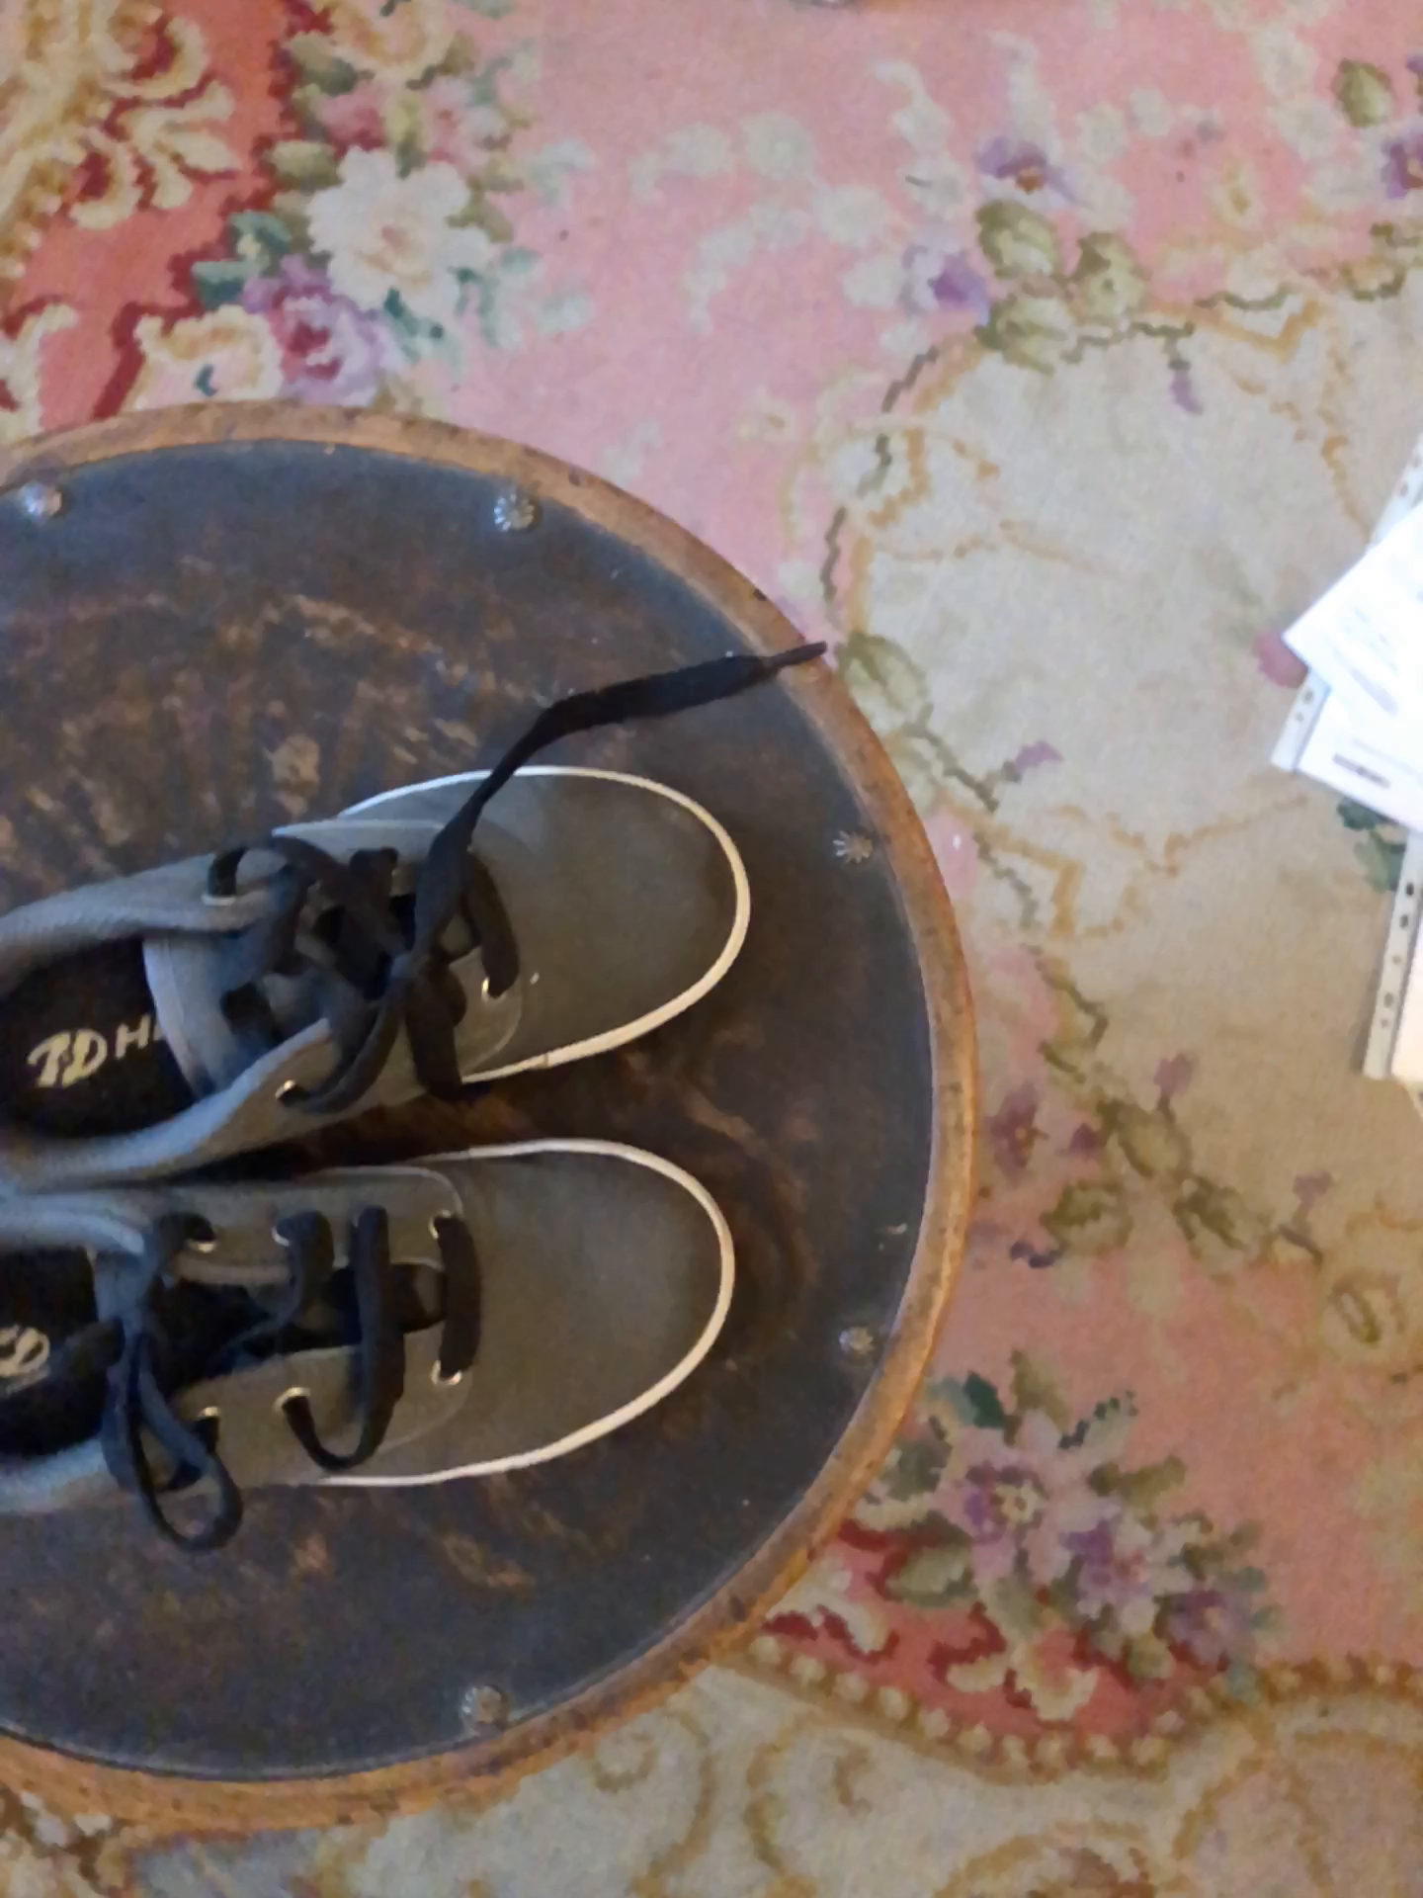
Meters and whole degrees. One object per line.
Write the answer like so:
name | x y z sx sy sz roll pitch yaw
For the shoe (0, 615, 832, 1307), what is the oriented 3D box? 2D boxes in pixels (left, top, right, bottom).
shoe | -0.091 0.004 0.386 0.211 0.100 0.090 -17 86 -5

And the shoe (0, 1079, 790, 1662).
shoe | -0.097 0.092 0.384 0.211 0.100 0.090 -8 85 -4
